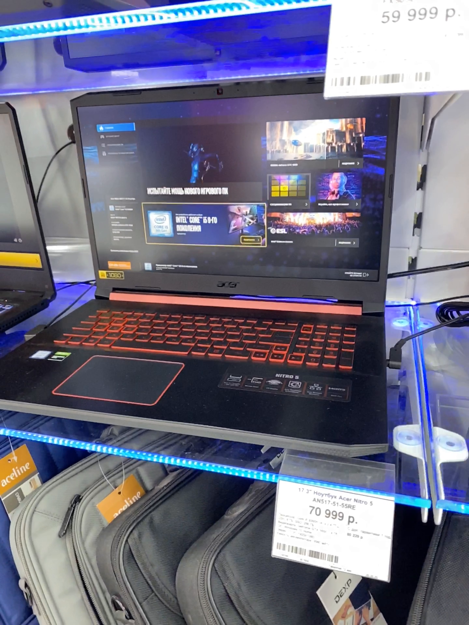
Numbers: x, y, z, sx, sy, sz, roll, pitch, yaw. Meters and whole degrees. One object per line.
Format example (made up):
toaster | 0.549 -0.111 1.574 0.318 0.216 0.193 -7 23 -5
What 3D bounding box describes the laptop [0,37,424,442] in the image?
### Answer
laptop | -0.046 -0.088 0.491 0.406 0.267 0.285 3 22 15
